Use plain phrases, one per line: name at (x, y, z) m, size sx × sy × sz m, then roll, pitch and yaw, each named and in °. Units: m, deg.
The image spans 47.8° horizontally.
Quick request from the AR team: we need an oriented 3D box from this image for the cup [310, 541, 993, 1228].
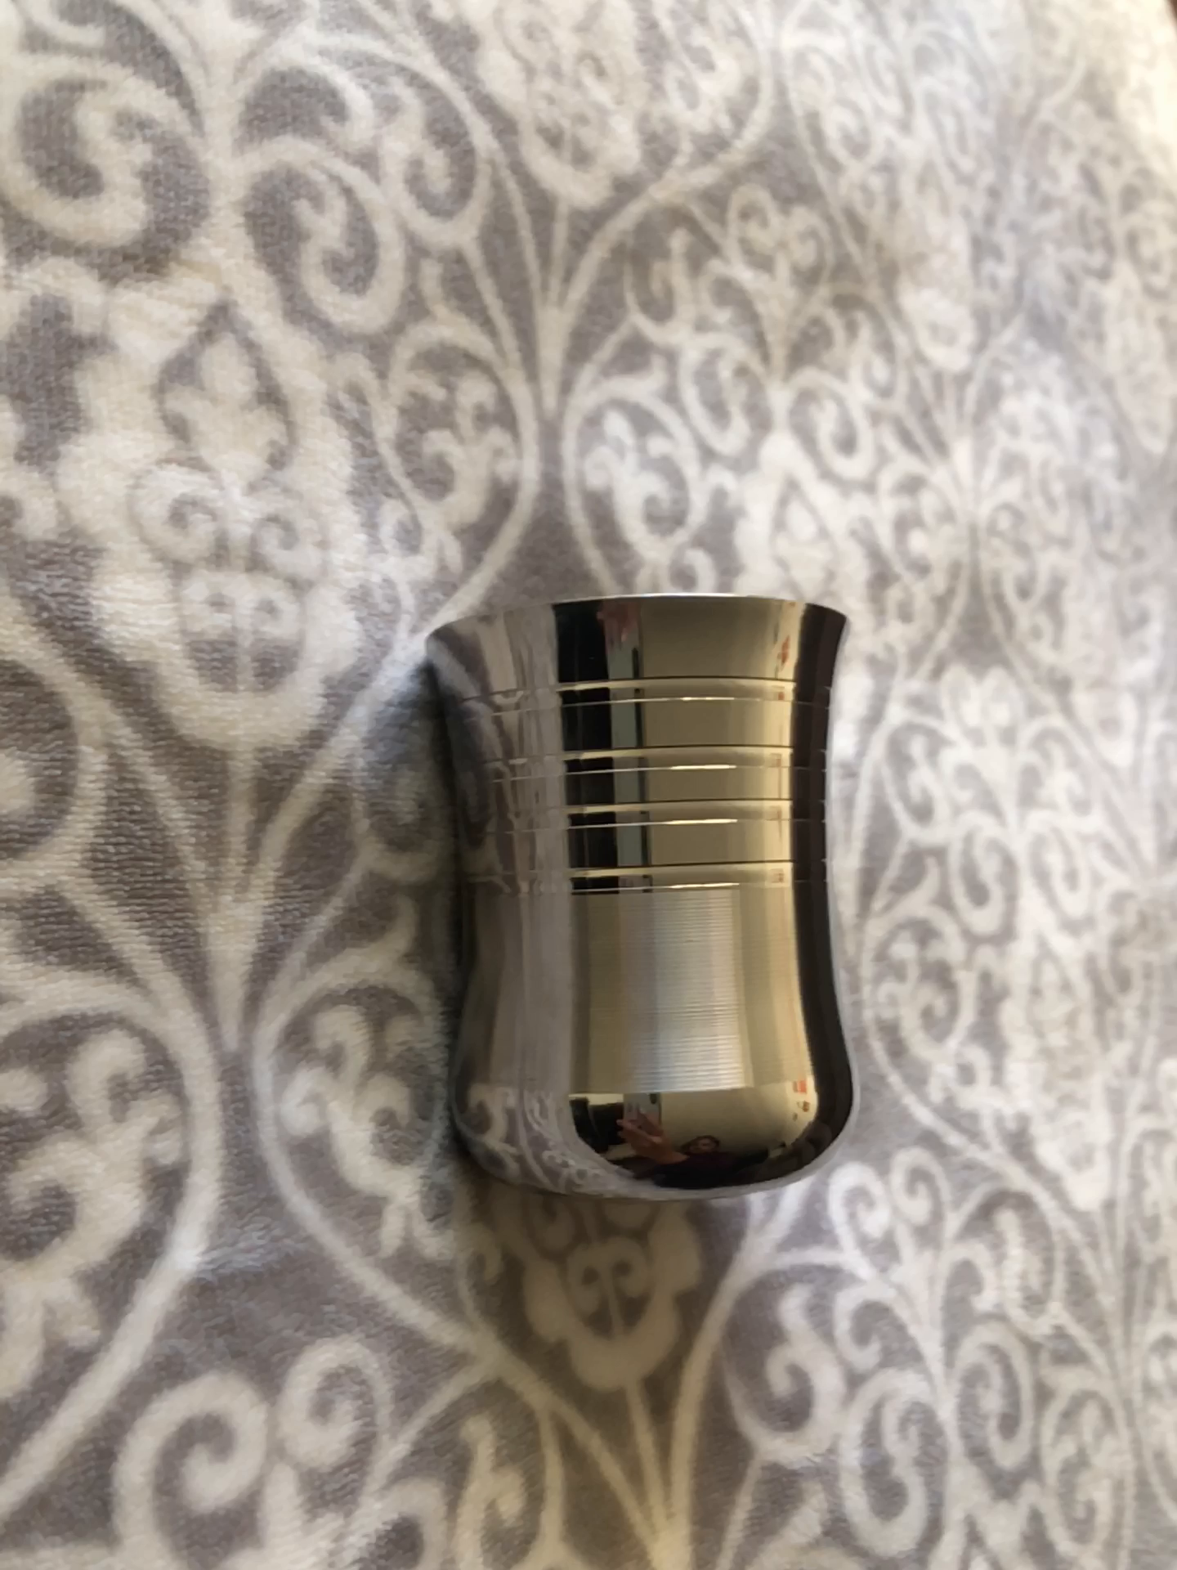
cup at (0.009, 0.018, 0.216) m, size 0.078 × 0.066 × 0.086 m, roll 2°, pitch 78°, yaw -42°
